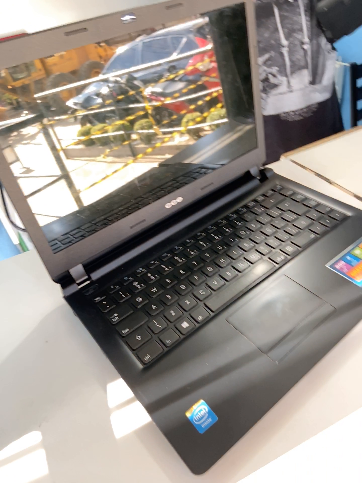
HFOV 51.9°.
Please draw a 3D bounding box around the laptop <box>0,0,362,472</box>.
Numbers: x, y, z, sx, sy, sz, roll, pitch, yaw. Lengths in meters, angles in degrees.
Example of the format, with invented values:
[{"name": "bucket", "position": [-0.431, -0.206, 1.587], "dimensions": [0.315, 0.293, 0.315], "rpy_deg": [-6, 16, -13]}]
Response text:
[{"name": "laptop", "position": [0.040, -0.071, 0.337], "dimensions": [0.324, 0.216, 0.267], "rpy_deg": [-31, 44, -24]}]
